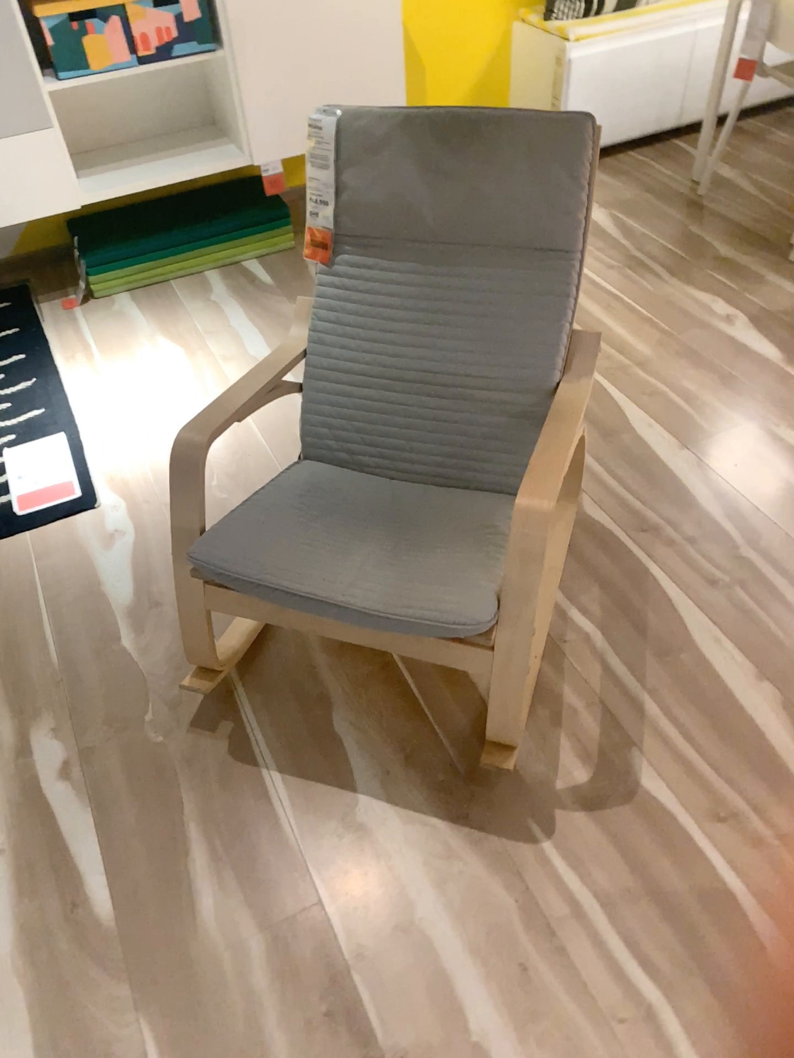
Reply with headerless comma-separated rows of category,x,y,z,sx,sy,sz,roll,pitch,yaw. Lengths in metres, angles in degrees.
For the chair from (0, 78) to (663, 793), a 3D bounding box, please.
chair,-0.021,-0.165,1.433,0.731,0.917,0.722,11,48,14
